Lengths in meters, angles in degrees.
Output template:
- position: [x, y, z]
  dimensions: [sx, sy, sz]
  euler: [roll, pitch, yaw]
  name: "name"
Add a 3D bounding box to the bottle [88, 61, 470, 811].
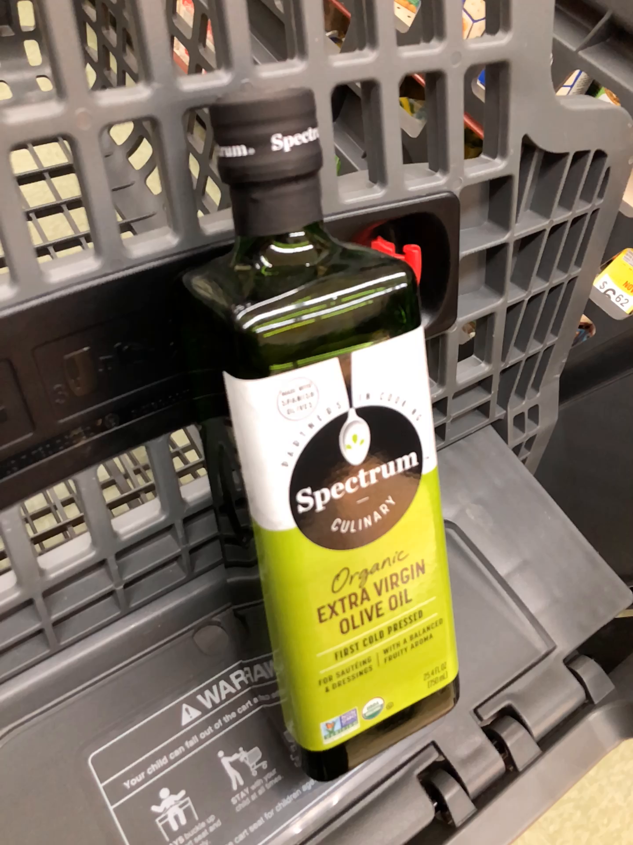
- position: [-0.003, 0.013, 0.260]
  dimensions: [0.080, 0.250, 0.076]
  euler: [-7, 26, 3]
  name: "bottle"
